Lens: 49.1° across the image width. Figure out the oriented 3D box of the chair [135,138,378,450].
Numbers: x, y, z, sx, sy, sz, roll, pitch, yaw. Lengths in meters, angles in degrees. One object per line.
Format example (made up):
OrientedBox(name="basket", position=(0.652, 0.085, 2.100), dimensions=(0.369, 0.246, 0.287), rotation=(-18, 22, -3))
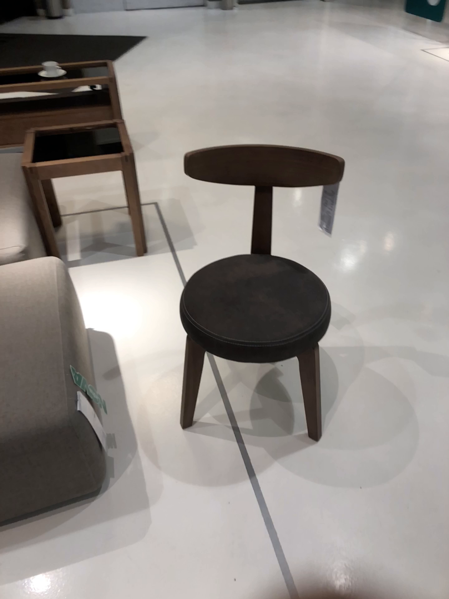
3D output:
OrientedBox(name="chair", position=(0.100, -0.019, 1.434), dimensions=(0.500, 0.704, 0.524), rotation=(3, 39, 6))
